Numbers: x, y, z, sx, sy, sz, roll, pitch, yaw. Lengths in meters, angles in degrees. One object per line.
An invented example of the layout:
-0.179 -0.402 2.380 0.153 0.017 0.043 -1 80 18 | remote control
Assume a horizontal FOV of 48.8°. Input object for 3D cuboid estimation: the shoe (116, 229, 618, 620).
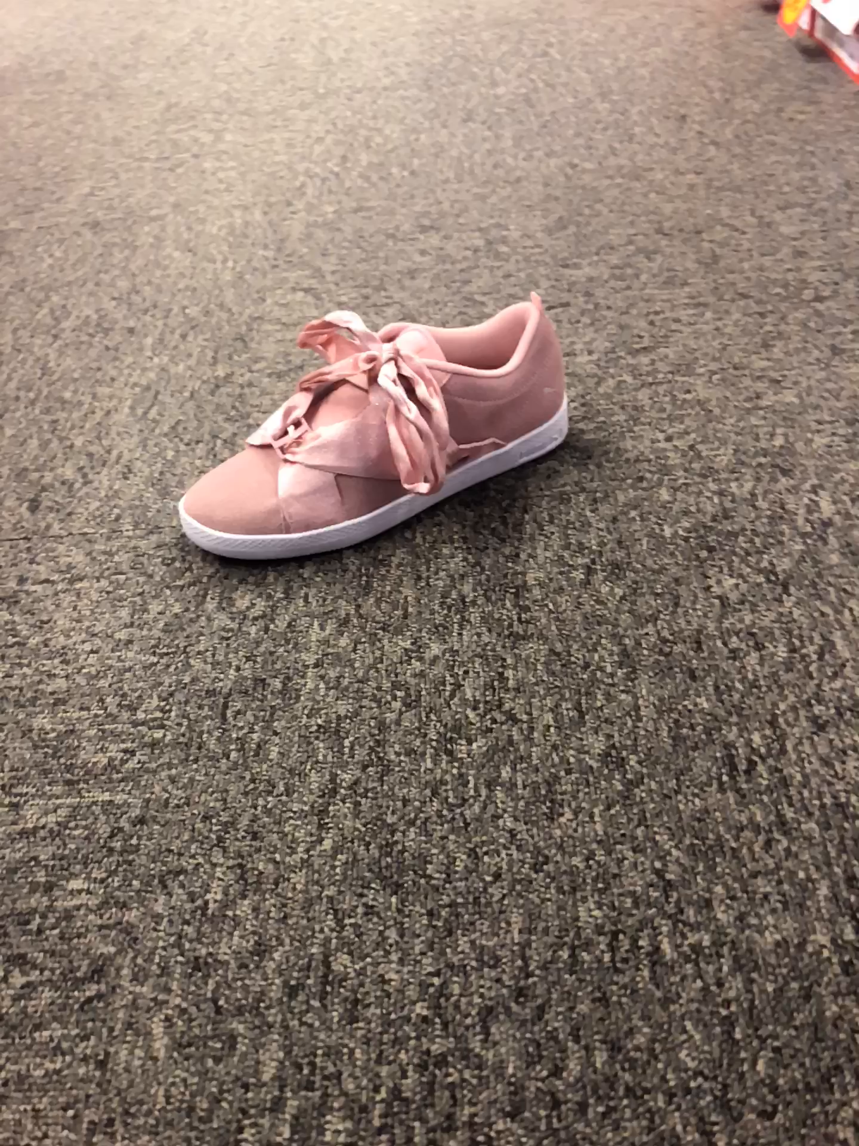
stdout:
-0.034 -0.091 0.561 0.262 0.099 0.100 -24 45 -6 | shoe
